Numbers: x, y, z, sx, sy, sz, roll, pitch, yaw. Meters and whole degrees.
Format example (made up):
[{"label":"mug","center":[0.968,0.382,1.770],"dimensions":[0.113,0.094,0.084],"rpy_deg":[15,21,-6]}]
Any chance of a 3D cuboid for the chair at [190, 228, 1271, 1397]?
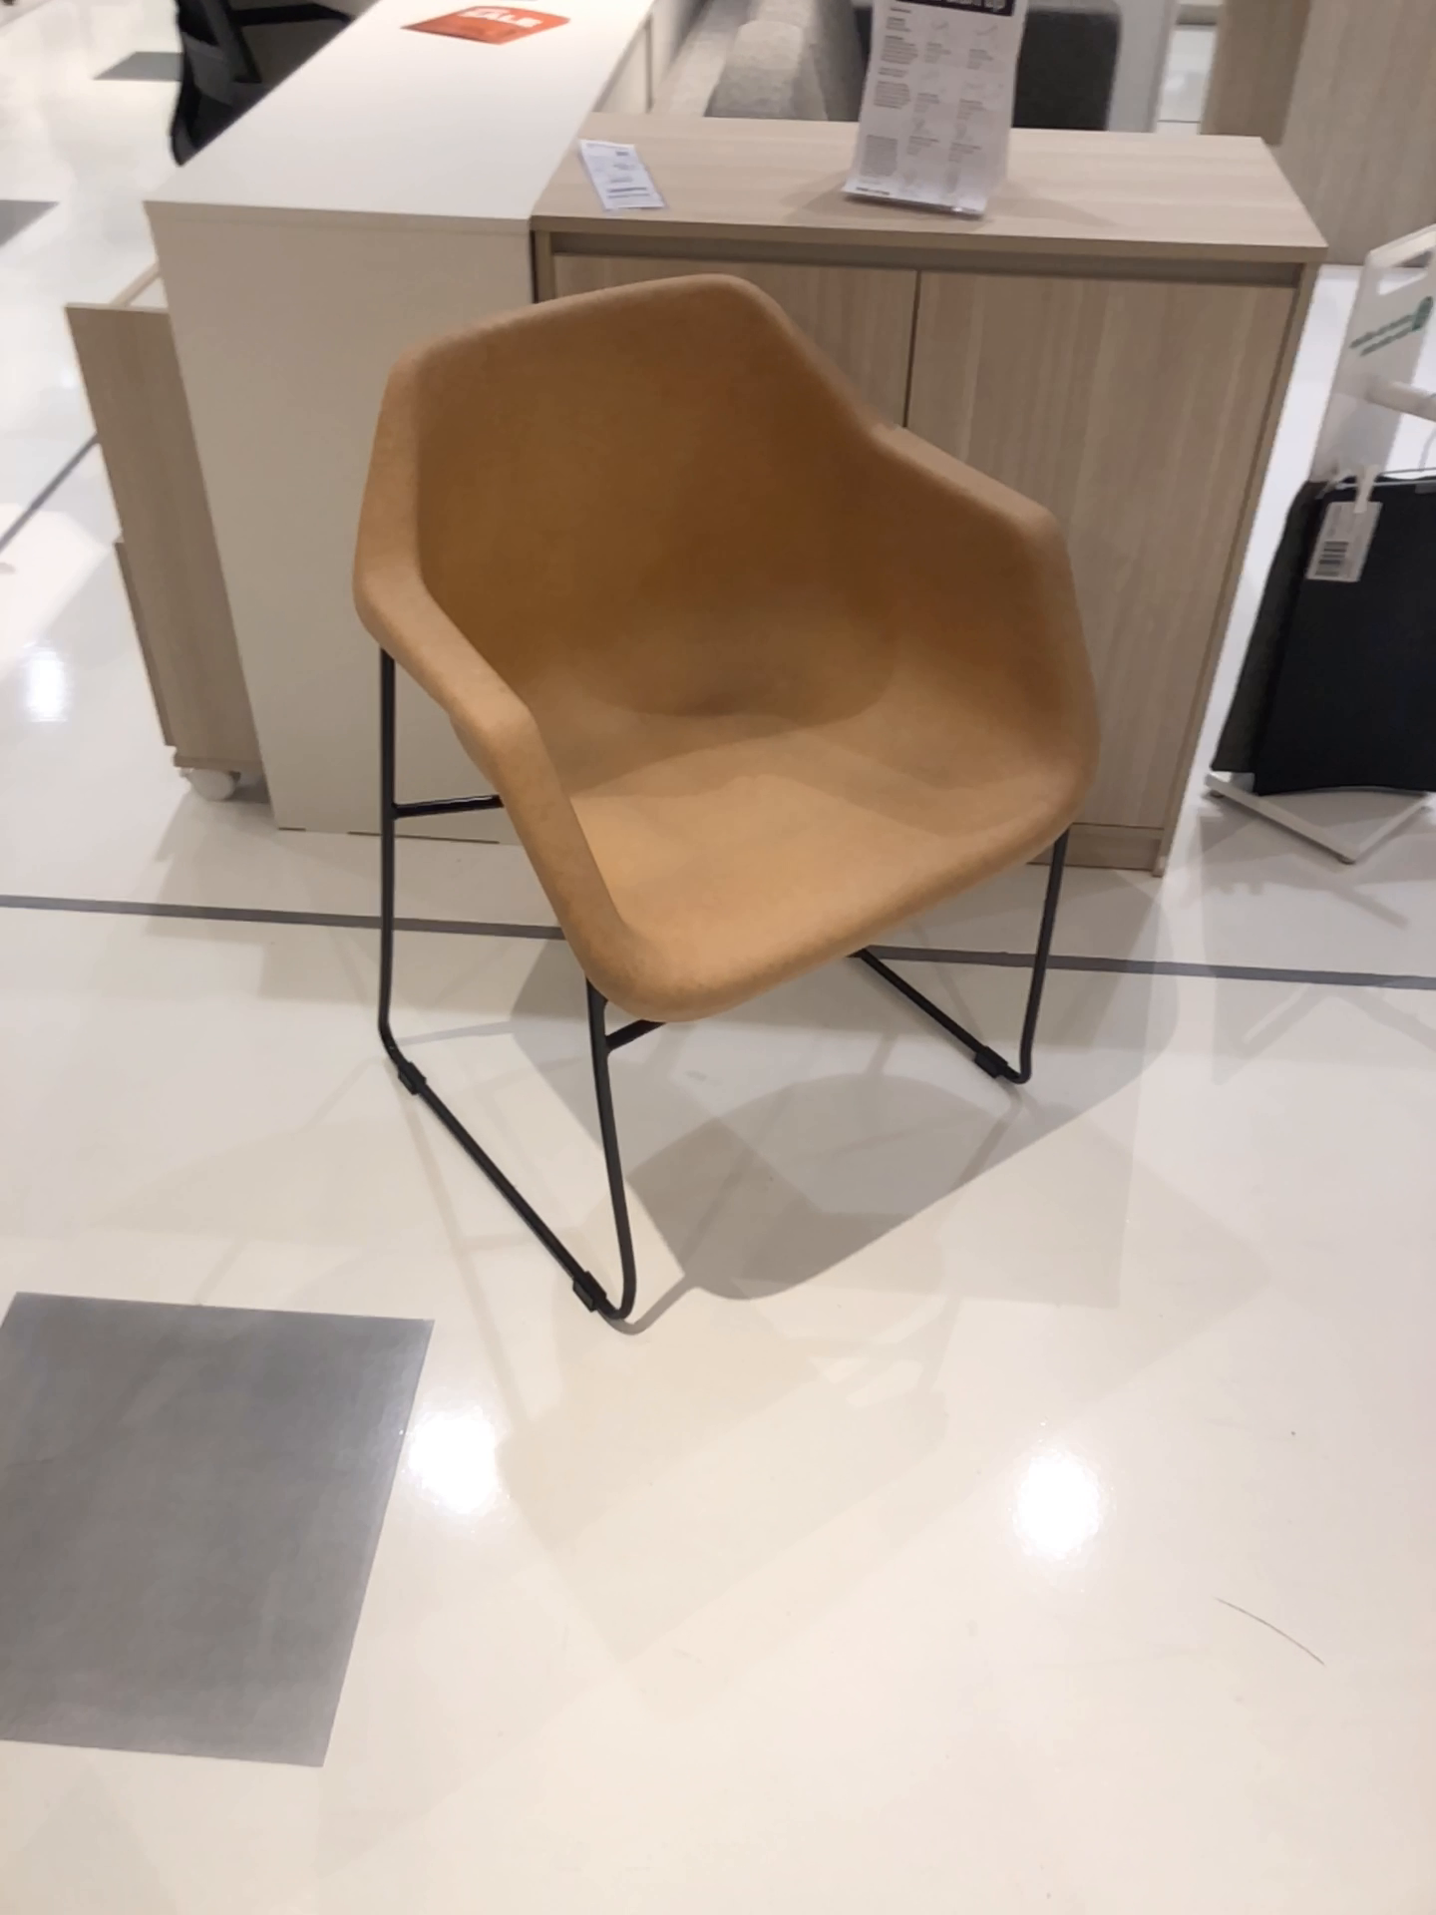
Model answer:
[{"label":"chair","center":[-0.004,-0.160,1.420],"dimensions":[0.592,0.705,0.572],"rpy_deg":[-27,48,-28]}]
